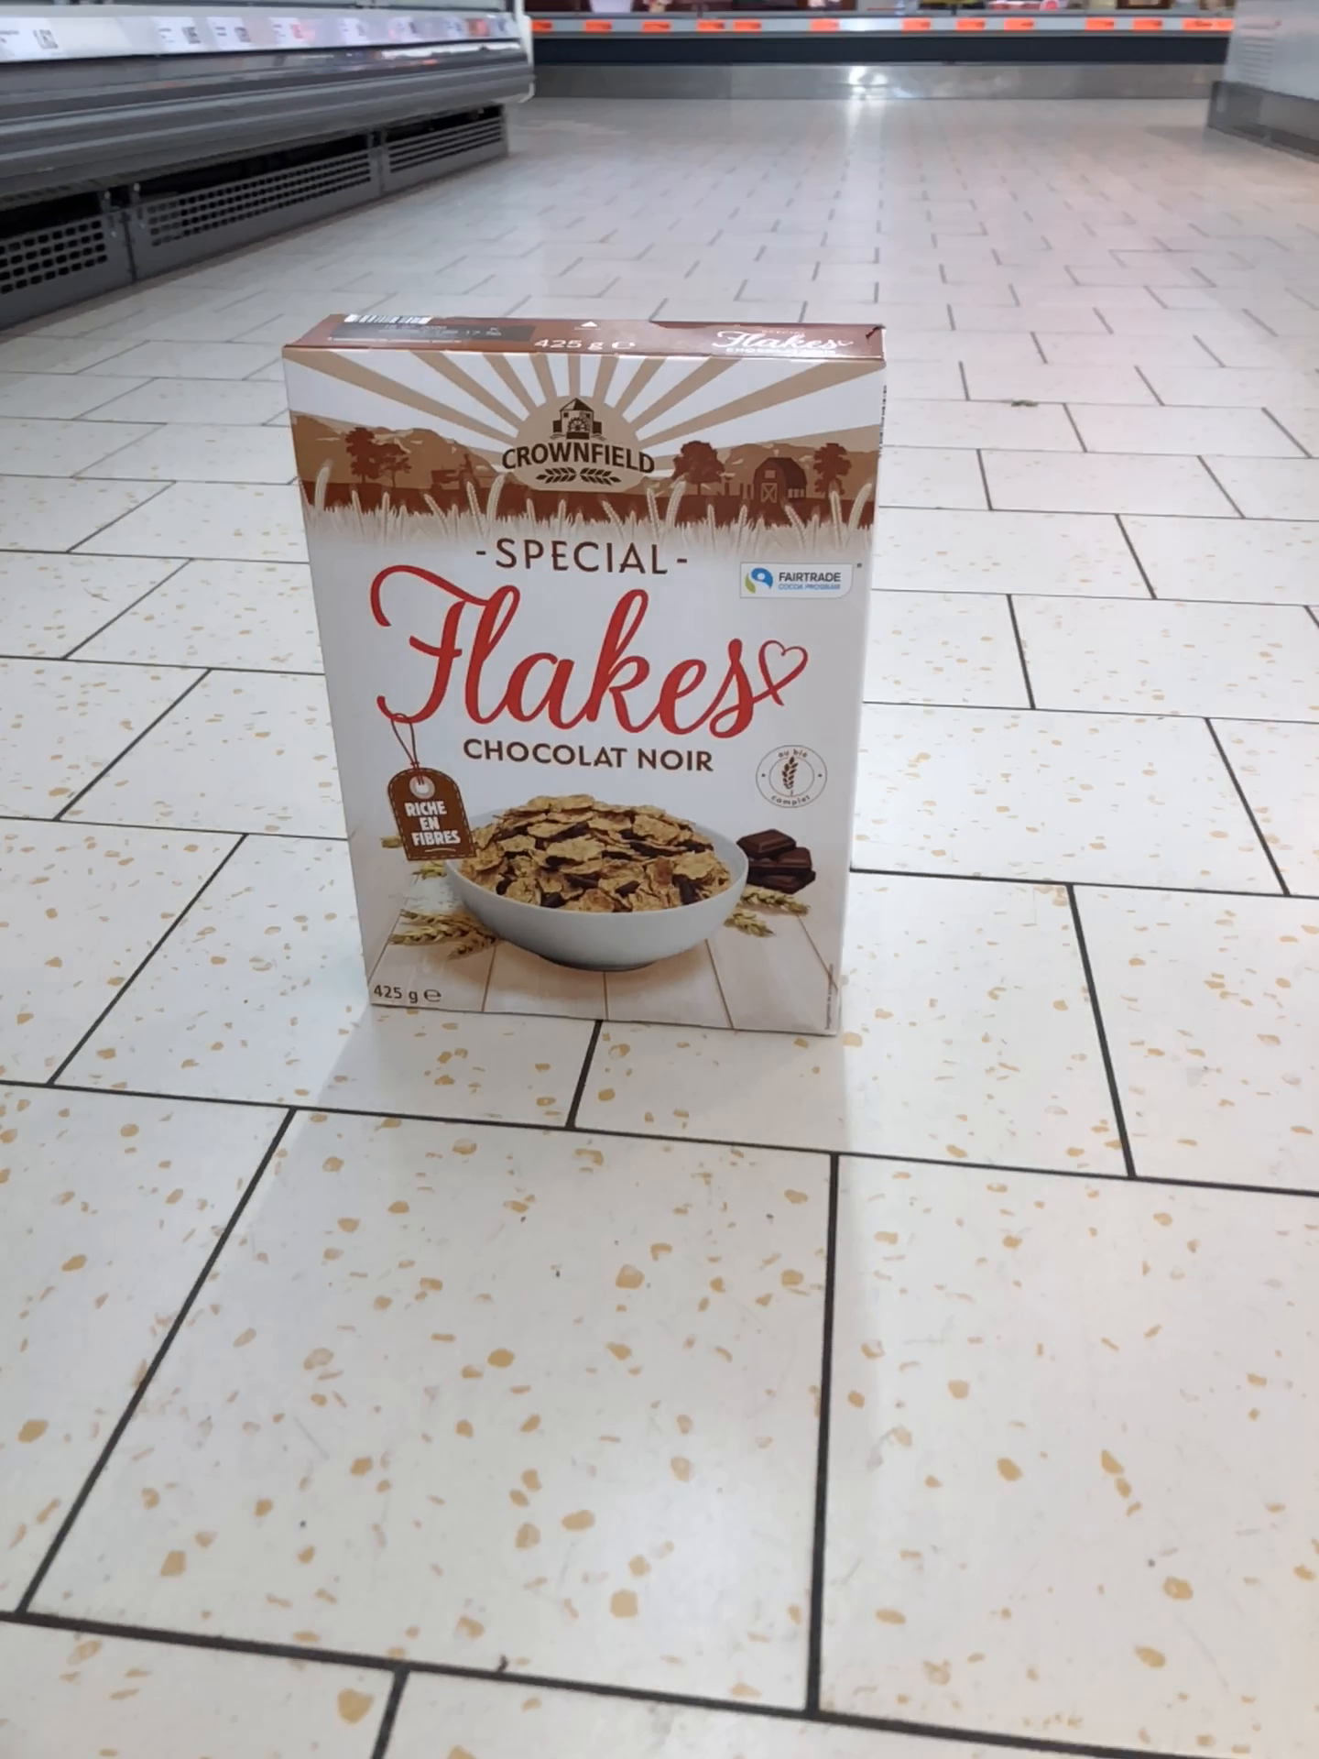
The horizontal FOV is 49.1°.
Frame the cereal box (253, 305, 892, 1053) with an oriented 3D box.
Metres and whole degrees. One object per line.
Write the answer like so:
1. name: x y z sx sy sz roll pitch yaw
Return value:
1. cereal box: -0.024 -0.069 0.538 0.200 0.258 0.070 3 30 7
